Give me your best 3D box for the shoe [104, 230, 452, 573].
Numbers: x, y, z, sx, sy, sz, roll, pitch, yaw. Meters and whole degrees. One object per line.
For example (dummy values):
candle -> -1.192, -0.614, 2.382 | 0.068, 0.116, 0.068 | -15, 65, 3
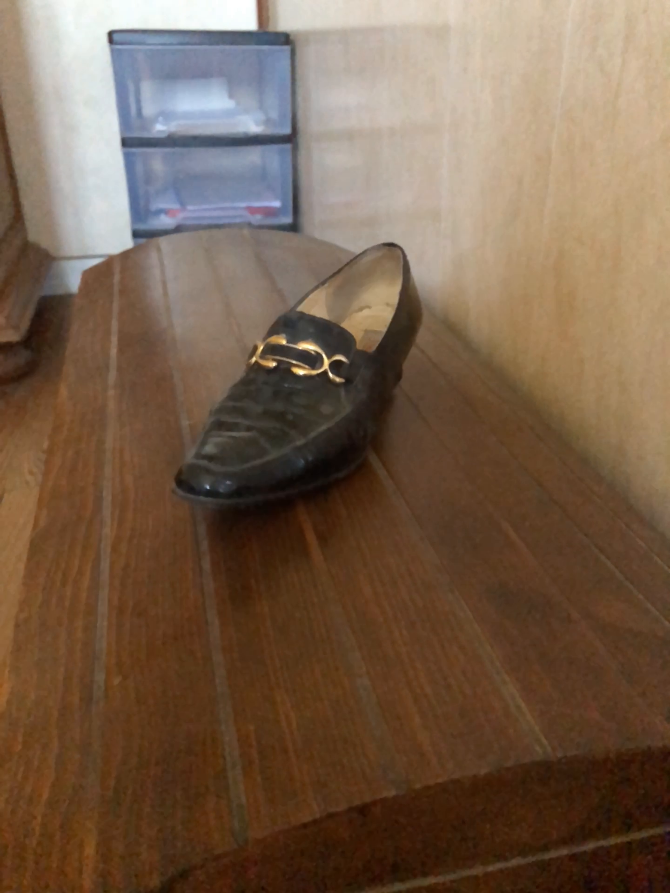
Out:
shoe -> -0.012, -0.047, 0.435 | 0.090, 0.099, 0.242 | 12, 32, 21
